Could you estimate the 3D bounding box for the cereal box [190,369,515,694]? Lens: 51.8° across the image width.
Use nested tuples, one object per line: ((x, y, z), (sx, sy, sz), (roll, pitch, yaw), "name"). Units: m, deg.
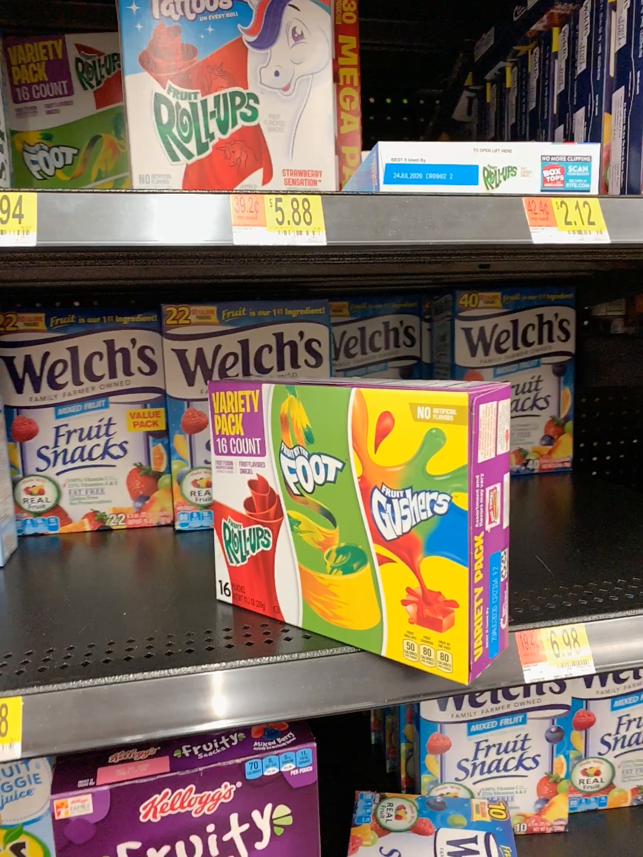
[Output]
((0.011, 0.050, 0.447), (0.220, 0.170, 0.060), (6, 12, 38), "cereal box")
